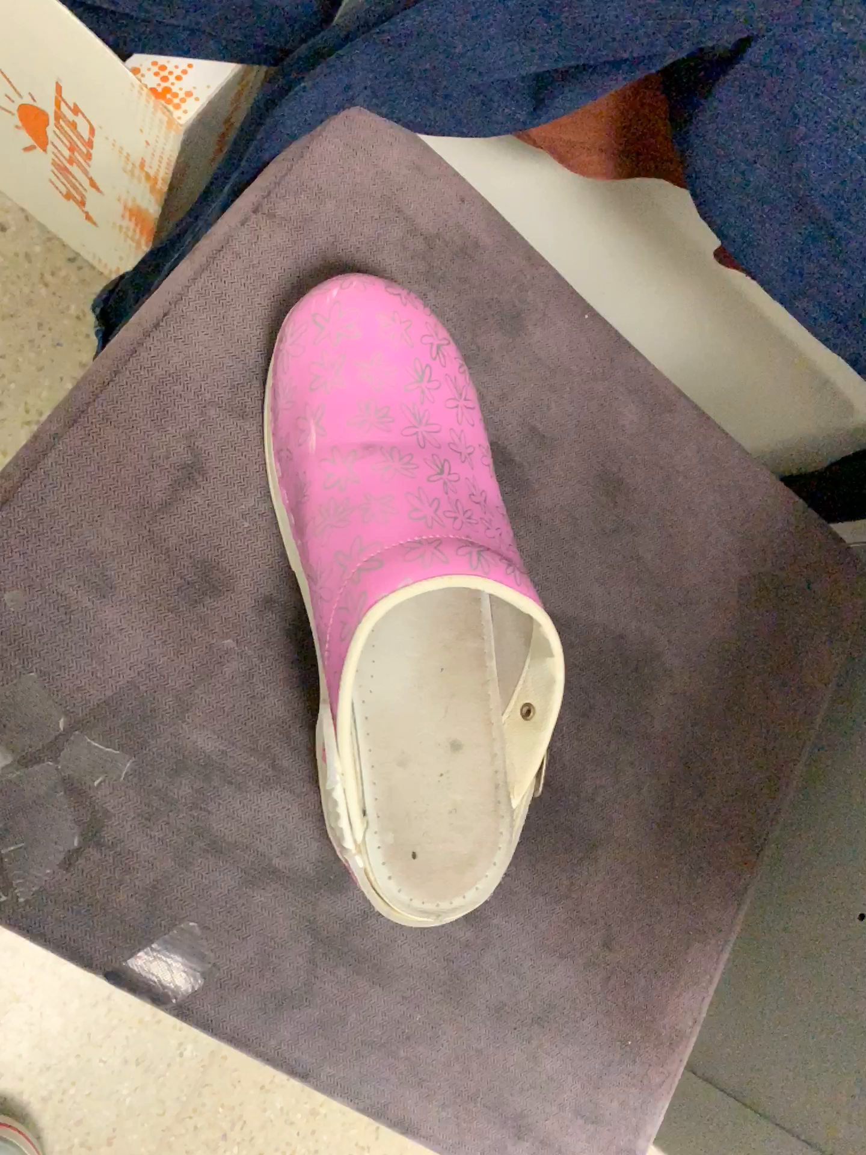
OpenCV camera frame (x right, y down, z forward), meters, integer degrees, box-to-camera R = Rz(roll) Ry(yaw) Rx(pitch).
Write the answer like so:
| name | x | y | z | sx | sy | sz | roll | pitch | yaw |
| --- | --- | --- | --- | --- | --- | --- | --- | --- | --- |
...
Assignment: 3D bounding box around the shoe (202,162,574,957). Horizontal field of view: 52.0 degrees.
| name | x | y | z | sx | sy | sz | roll | pitch | yaw |
| --- | --- | --- | --- | --- | --- | --- | --- | --- | --- |
| shoe | -0.021 | -0.006 | 0.313 | 0.100 | 0.080 | 0.230 | 0 | 85 | -25 |
